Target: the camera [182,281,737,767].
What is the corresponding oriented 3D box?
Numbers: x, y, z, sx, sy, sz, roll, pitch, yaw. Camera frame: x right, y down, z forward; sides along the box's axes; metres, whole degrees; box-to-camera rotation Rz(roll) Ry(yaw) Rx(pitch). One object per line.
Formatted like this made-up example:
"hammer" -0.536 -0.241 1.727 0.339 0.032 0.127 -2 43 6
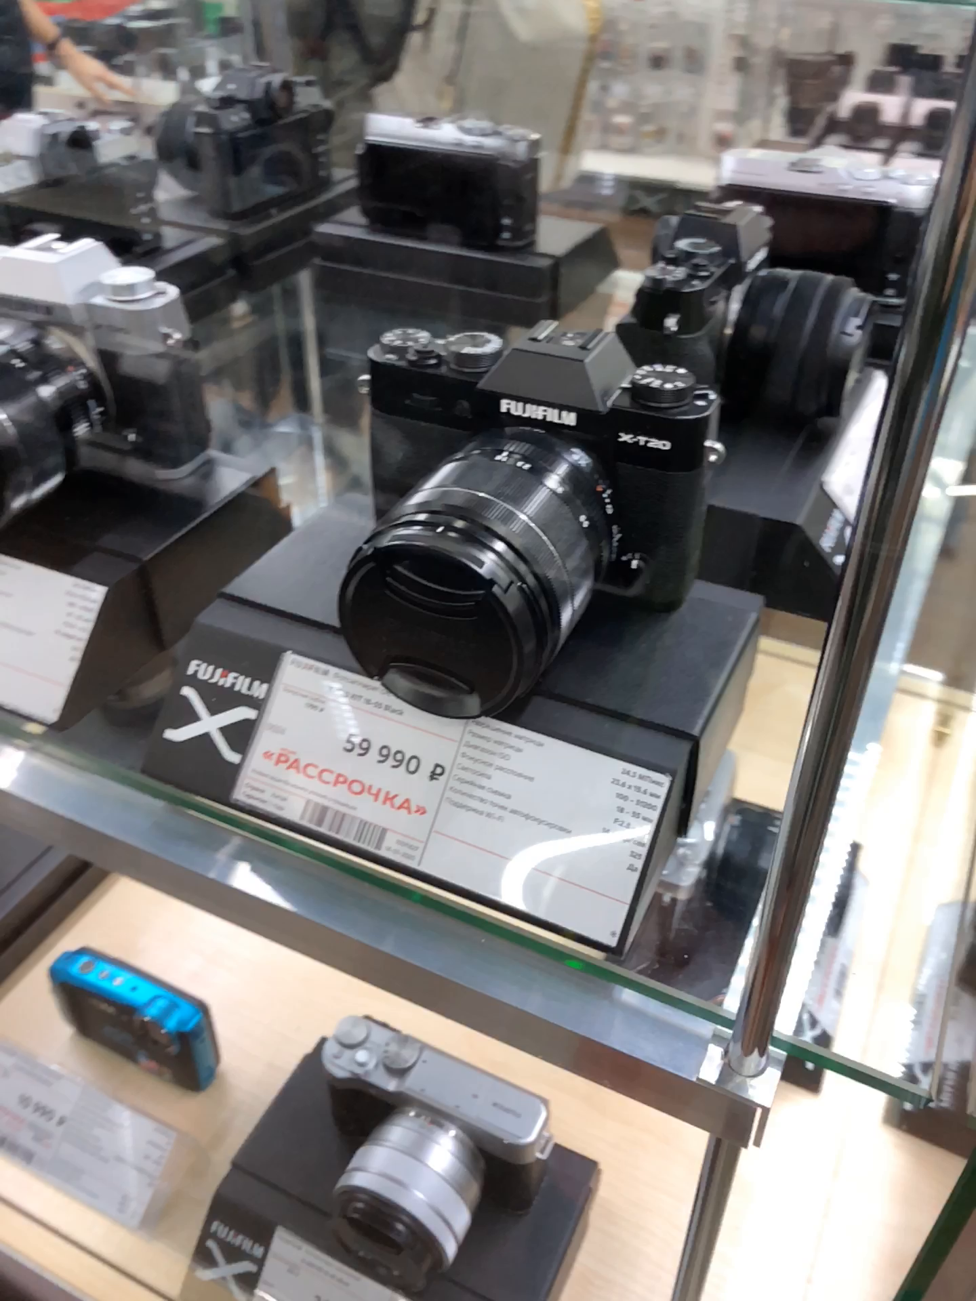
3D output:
"camera" -0.002 -0.049 0.340 0.121 0.081 0.122 16 39 20
